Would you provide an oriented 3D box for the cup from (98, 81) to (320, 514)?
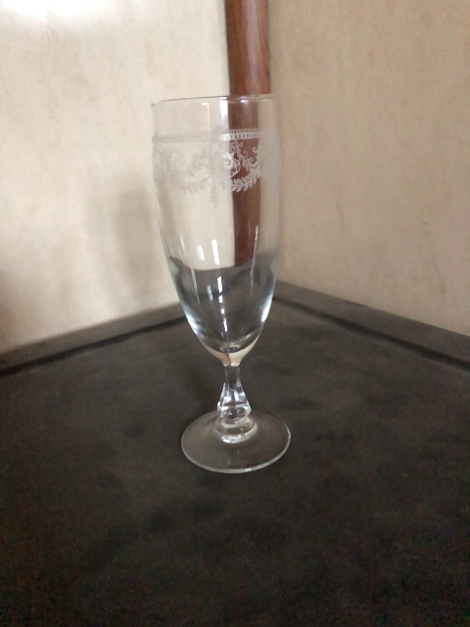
[{"bbox_3d":[-0.004,-0.008,0.233,0.060,0.169,0.060,-4,20,1],"label":"cup"}]
